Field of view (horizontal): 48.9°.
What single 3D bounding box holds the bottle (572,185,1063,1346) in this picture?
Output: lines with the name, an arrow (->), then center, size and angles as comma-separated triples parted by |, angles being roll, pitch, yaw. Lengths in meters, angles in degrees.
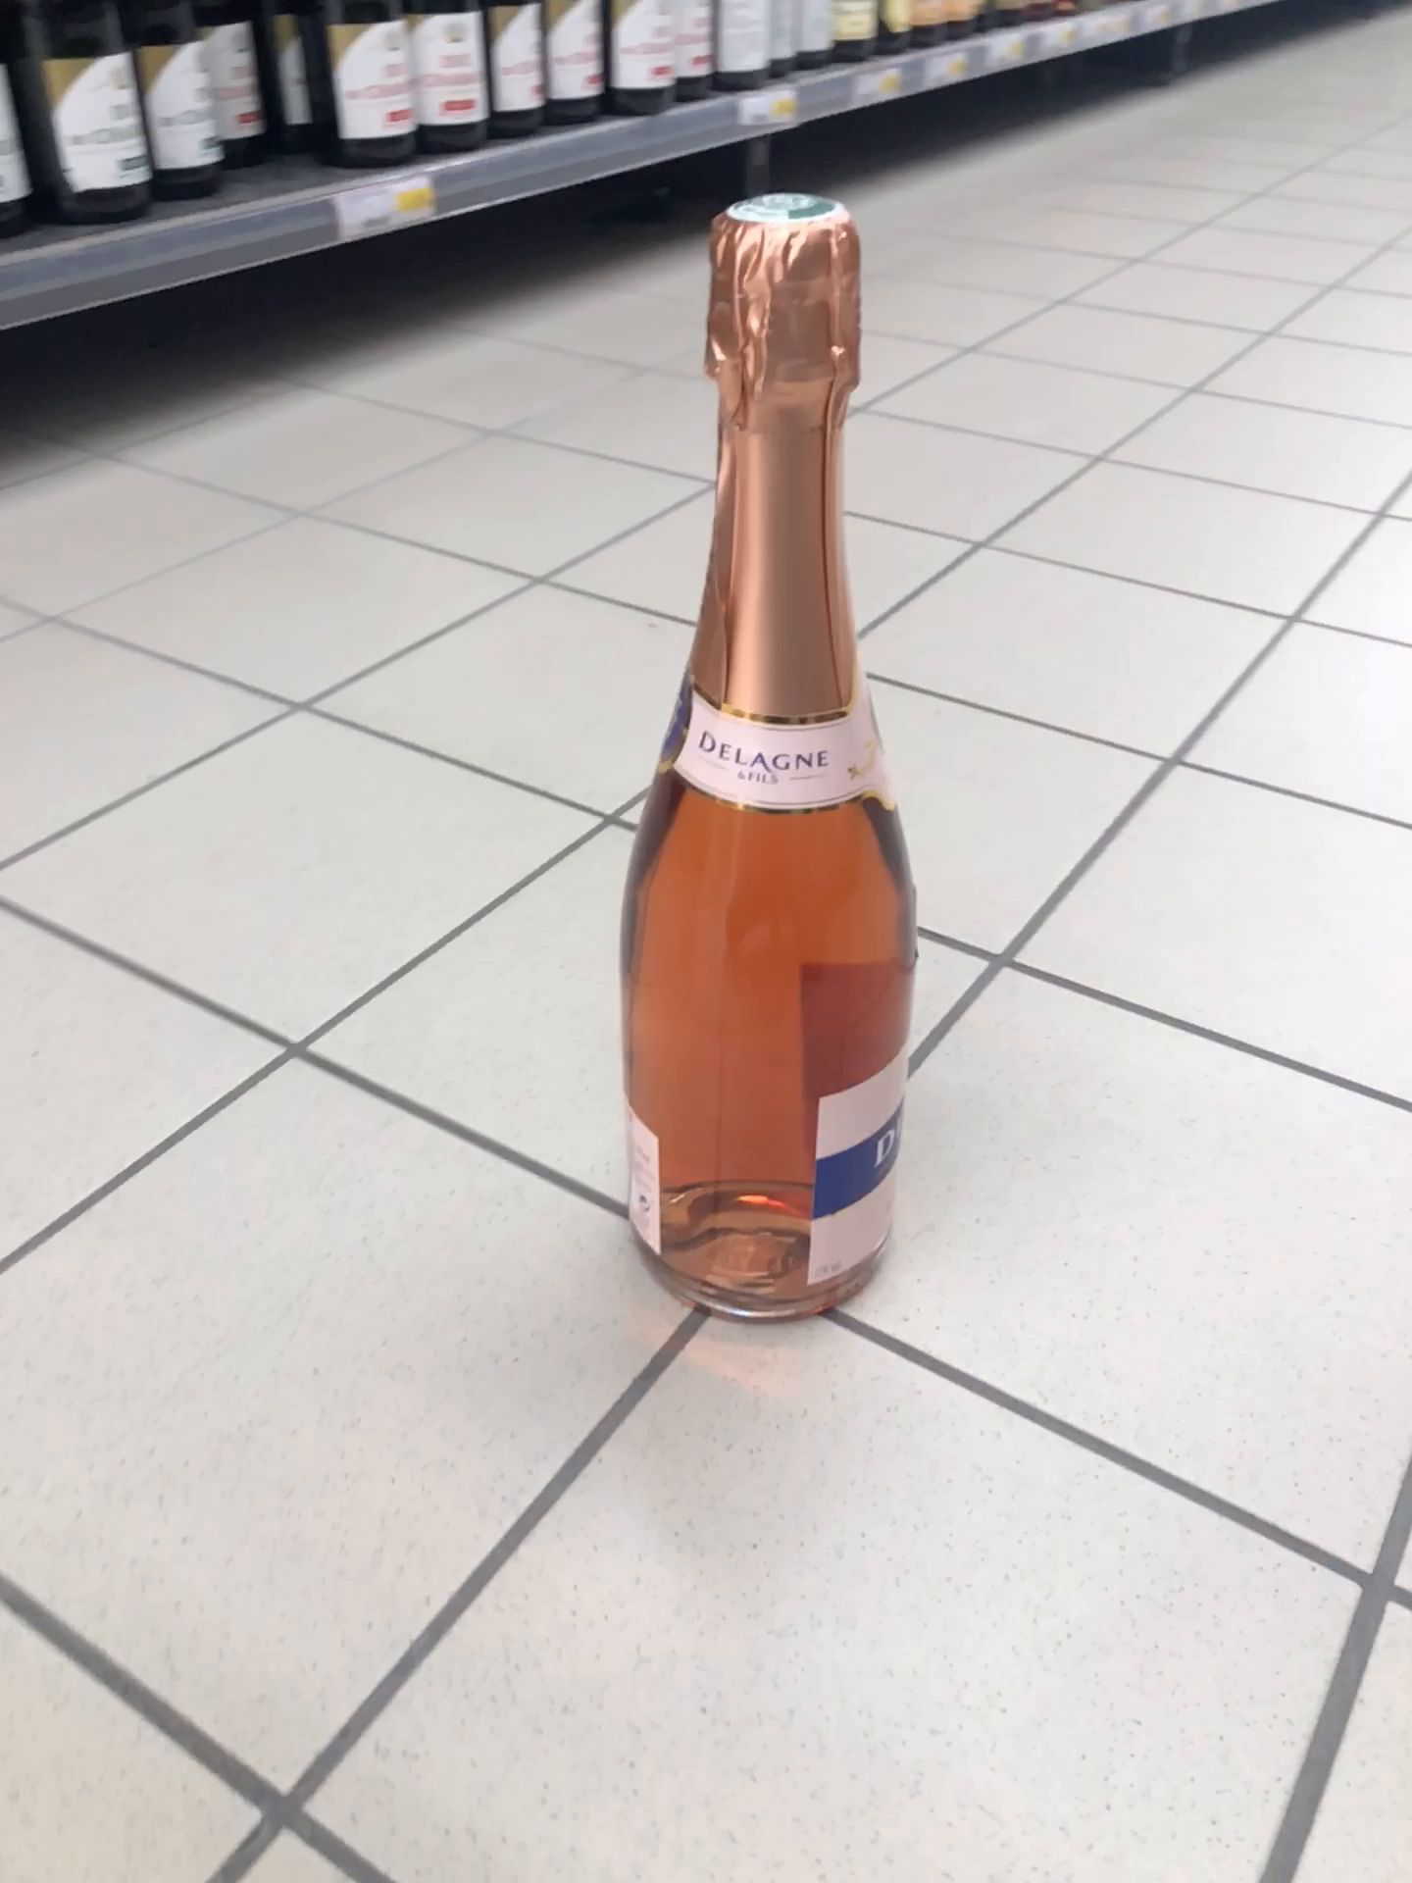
bottle -> 0.019, -0.031, 0.407 | 0.090, 0.288, 0.101 | 0, 35, -1
